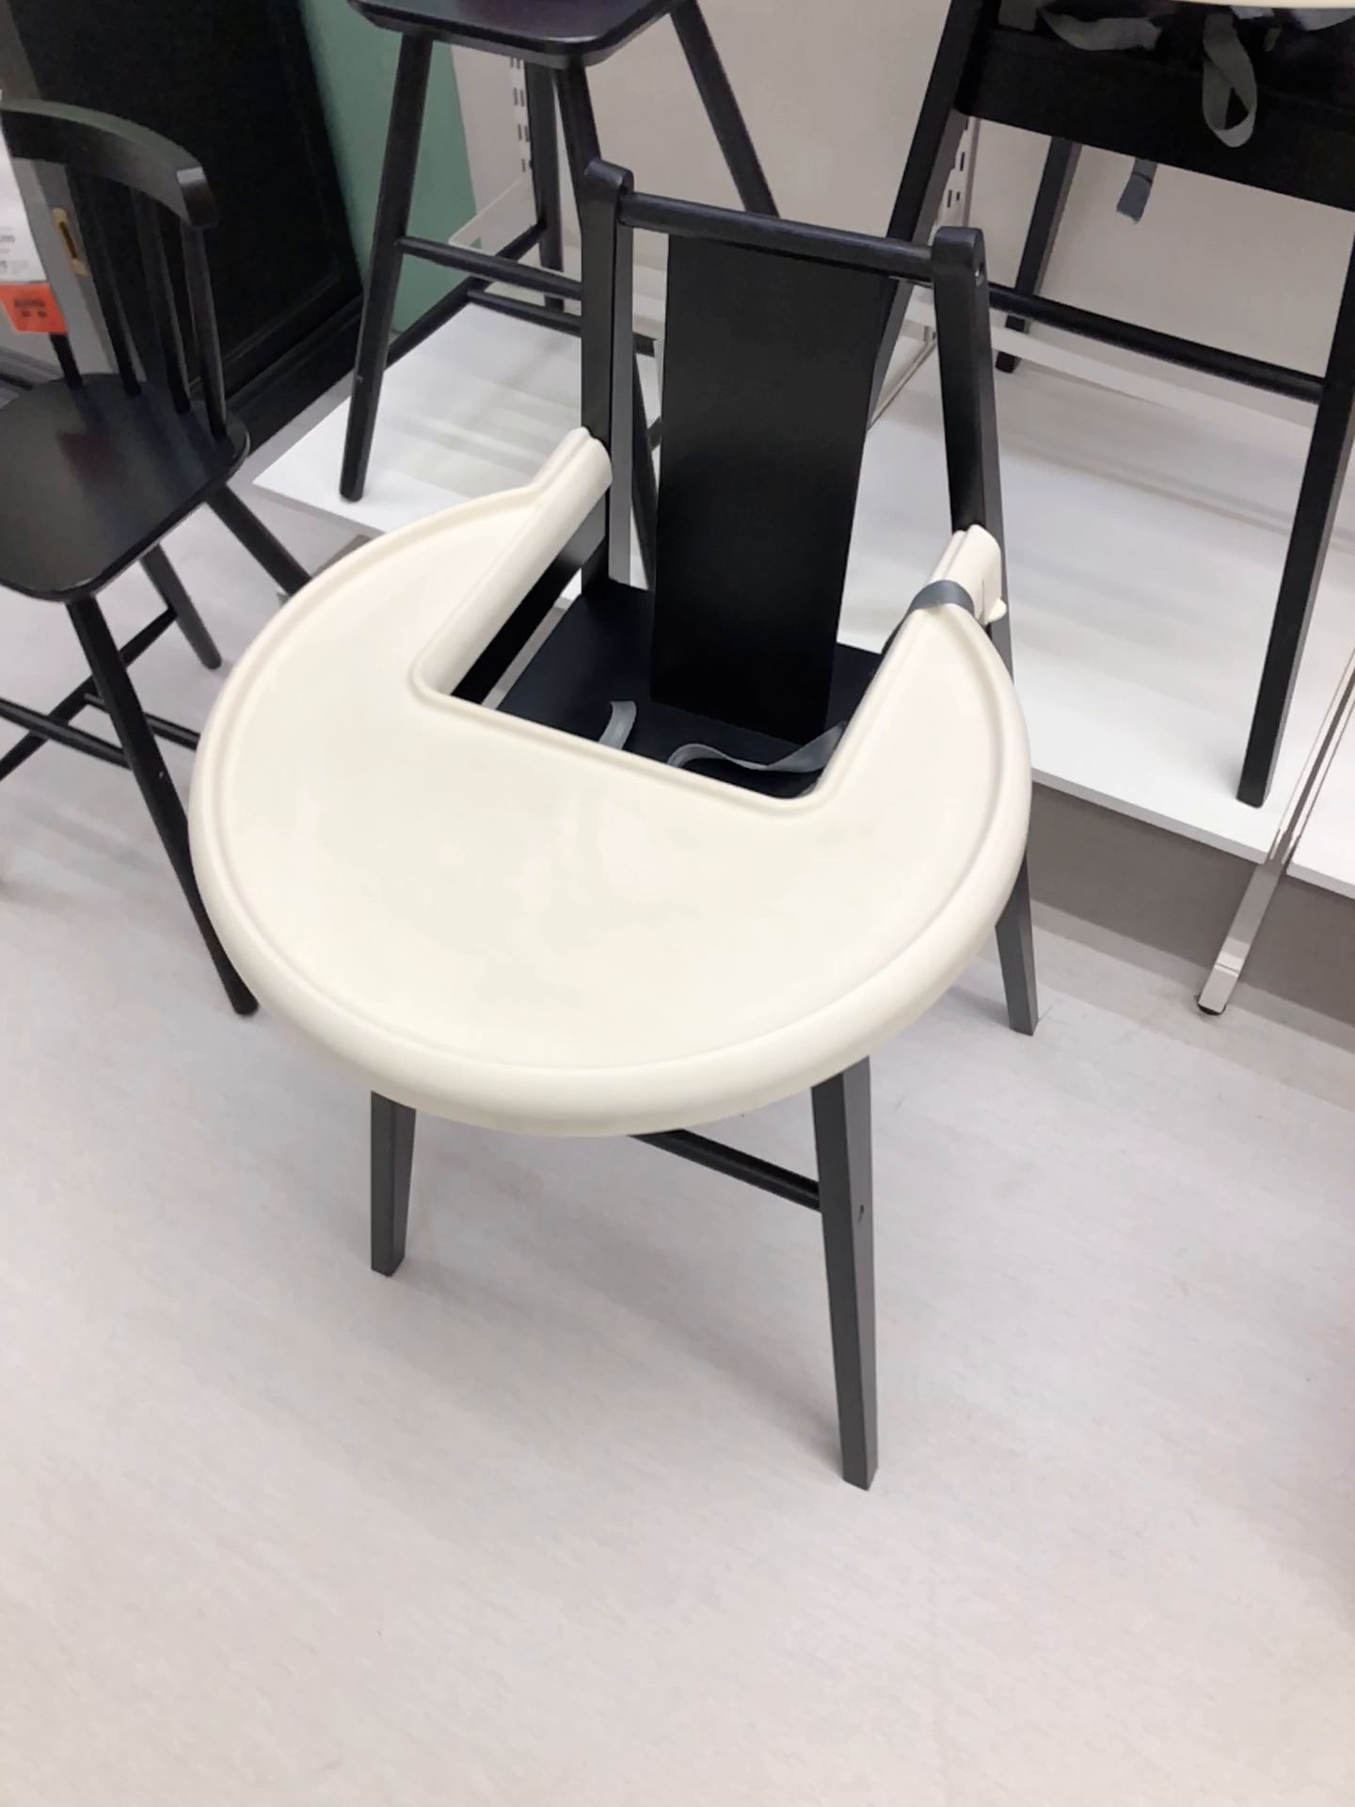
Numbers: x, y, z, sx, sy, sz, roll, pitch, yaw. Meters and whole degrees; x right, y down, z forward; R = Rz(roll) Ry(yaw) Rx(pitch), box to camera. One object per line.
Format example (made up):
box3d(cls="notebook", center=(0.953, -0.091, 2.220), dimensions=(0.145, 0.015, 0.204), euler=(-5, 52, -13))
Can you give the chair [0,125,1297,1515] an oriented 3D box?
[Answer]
box3d(cls="chair", center=(0.020, -0.027, 1.134), dimensions=(0.551, 0.776, 0.552), euler=(20, 56, 17))
